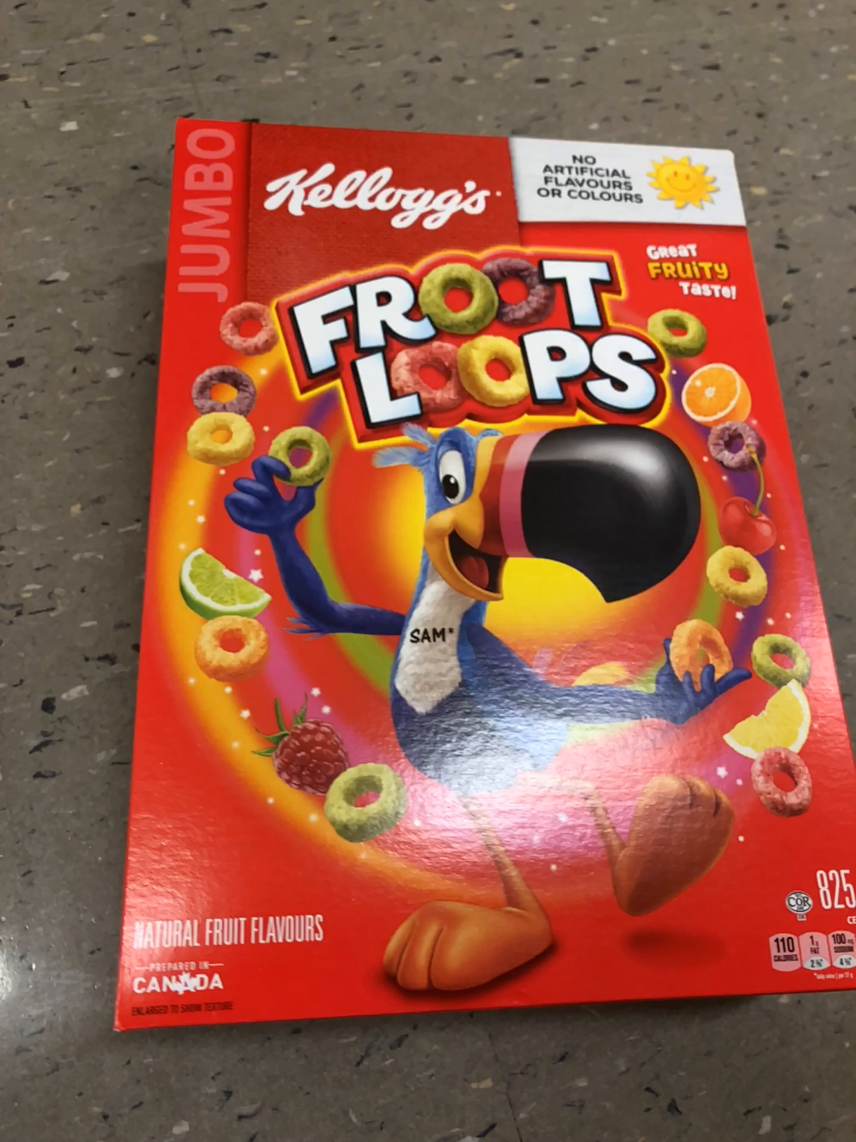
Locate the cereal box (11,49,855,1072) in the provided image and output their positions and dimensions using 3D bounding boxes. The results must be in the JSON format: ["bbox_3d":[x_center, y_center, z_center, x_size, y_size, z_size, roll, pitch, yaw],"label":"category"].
[{"bbox_3d":[0.016,-0.026,0.362,0.270,0.080,0.360,0,67,-7],"label":"cereal box"}]
